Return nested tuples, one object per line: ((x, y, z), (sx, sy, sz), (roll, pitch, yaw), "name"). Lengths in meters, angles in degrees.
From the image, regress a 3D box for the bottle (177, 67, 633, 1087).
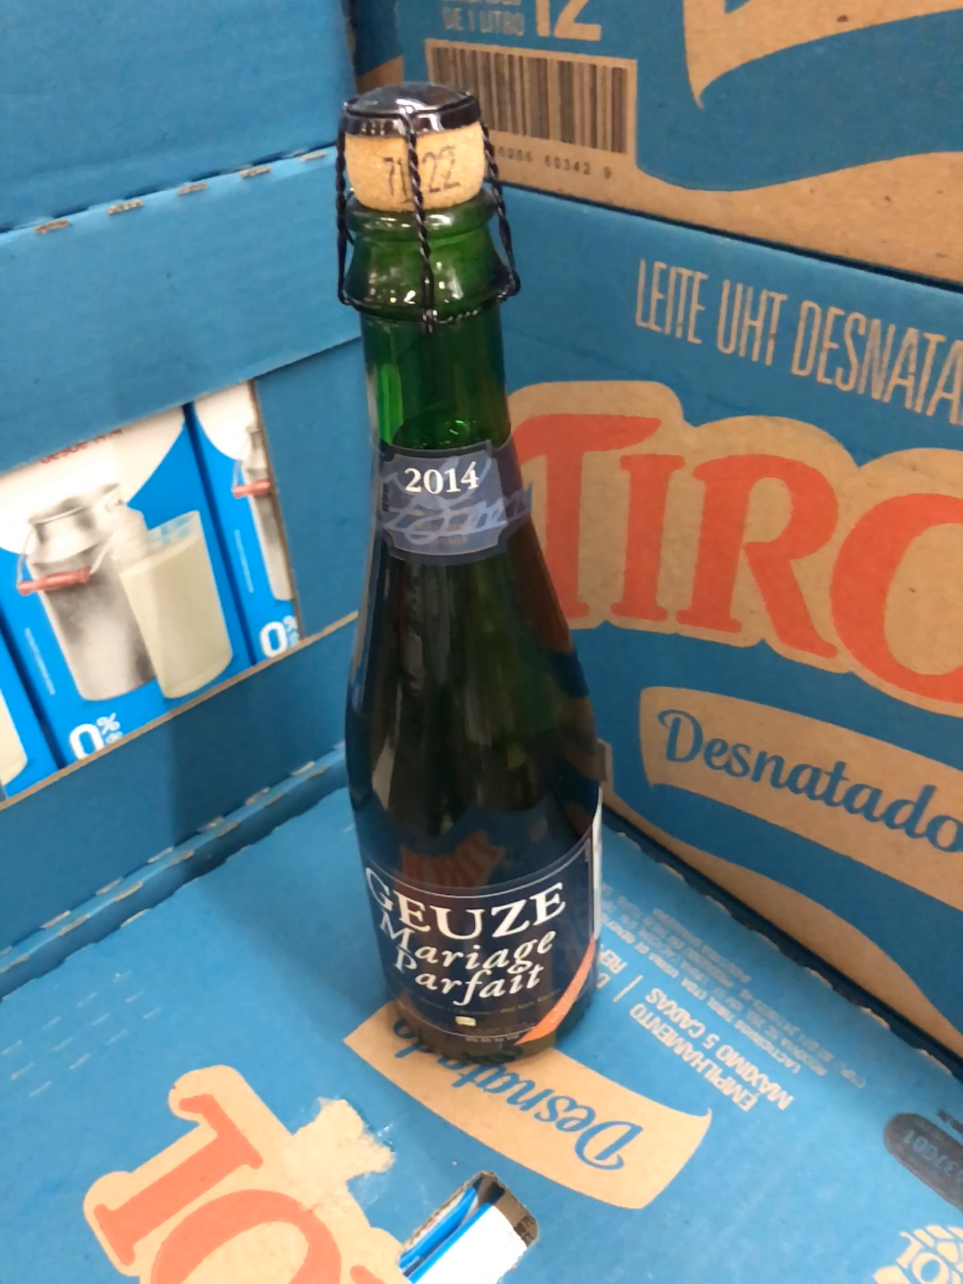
((-0.004, 0.008, 0.266), (0.070, 0.258, 0.060), (3, 38, 7), "bottle")
